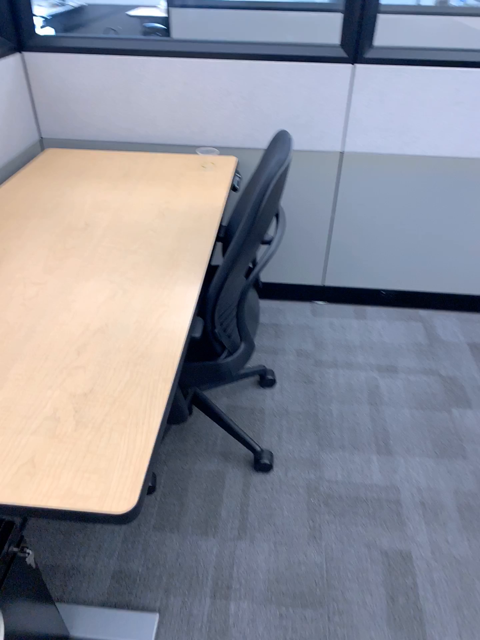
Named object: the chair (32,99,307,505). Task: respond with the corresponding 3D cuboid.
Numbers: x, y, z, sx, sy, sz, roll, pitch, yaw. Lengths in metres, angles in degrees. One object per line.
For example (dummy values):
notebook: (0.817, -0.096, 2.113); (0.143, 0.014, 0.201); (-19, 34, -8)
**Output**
chair: (-0.129, -0.044, 1.469); (0.510, 0.994, 0.674); (2, 37, 1)
